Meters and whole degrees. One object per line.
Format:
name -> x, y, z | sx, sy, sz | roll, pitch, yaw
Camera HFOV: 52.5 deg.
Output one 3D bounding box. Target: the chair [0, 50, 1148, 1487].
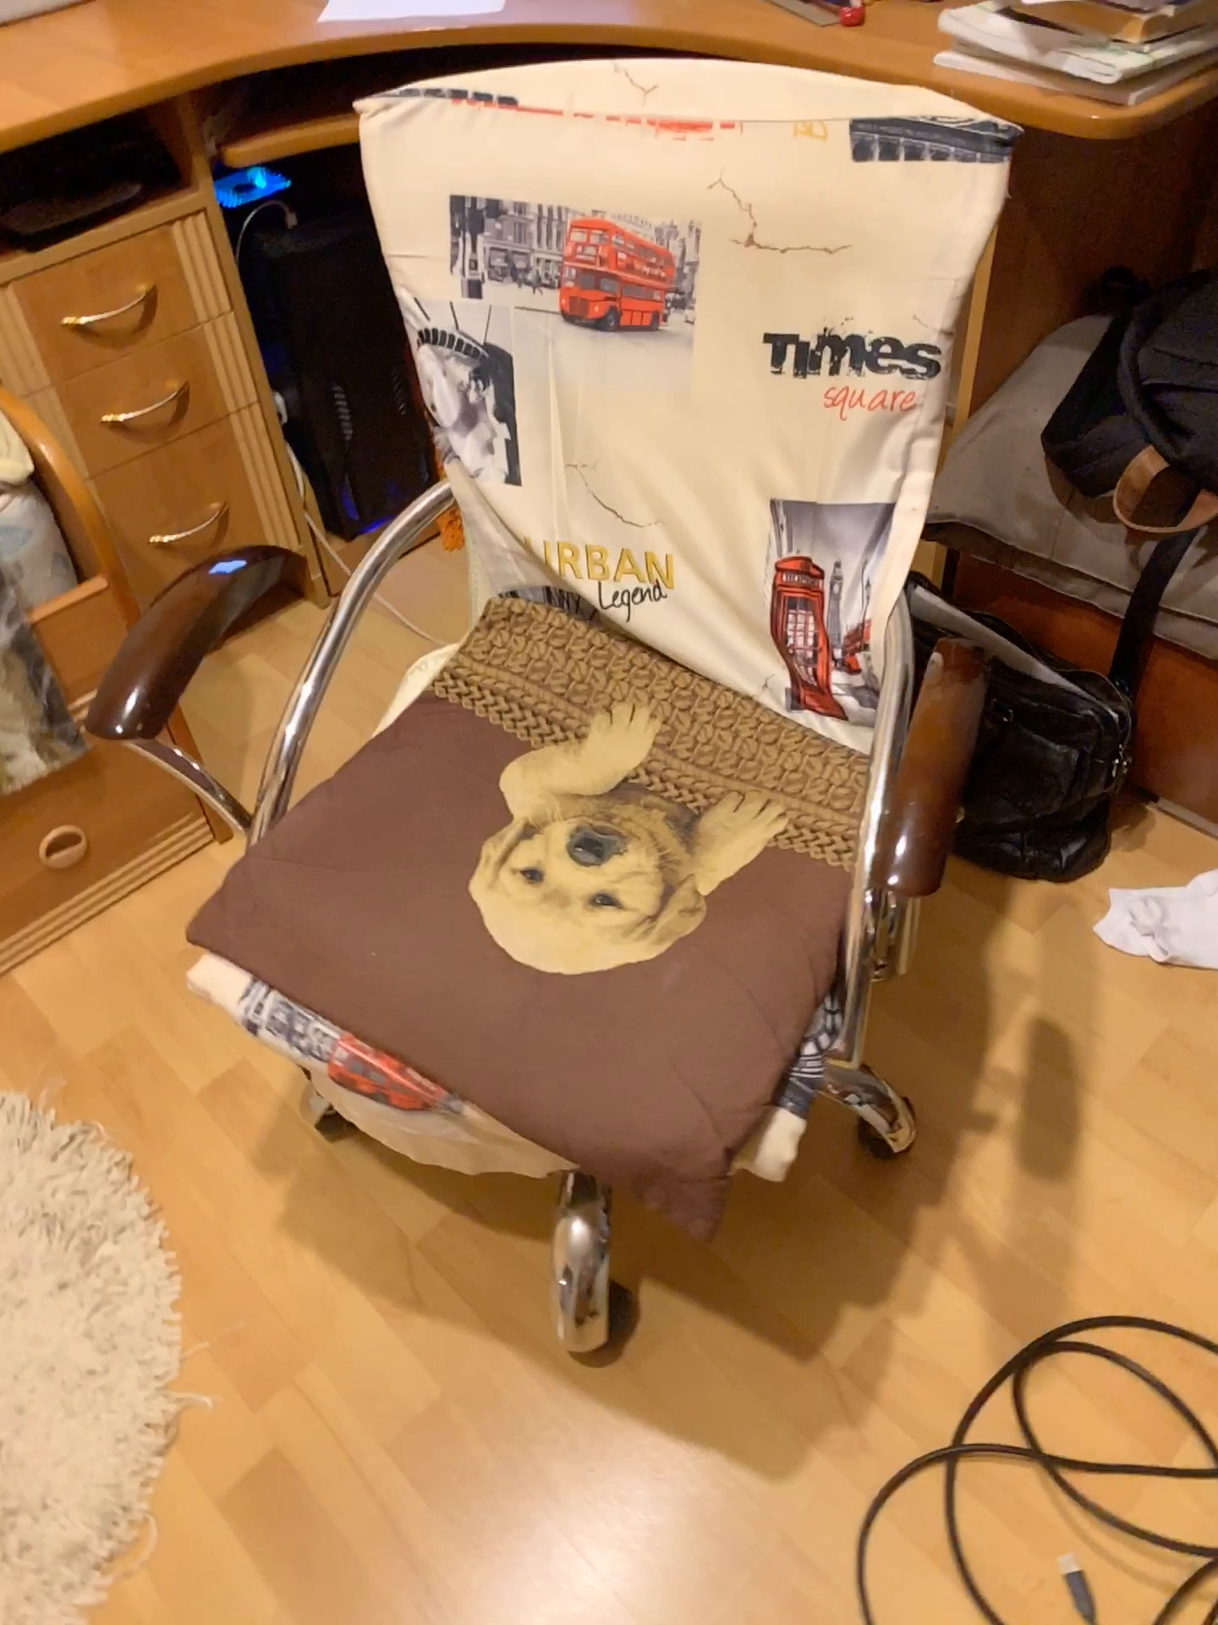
chair -> 0.005, -0.027, 0.816 | 0.475, 0.665, 0.567 | 12, 49, 14
